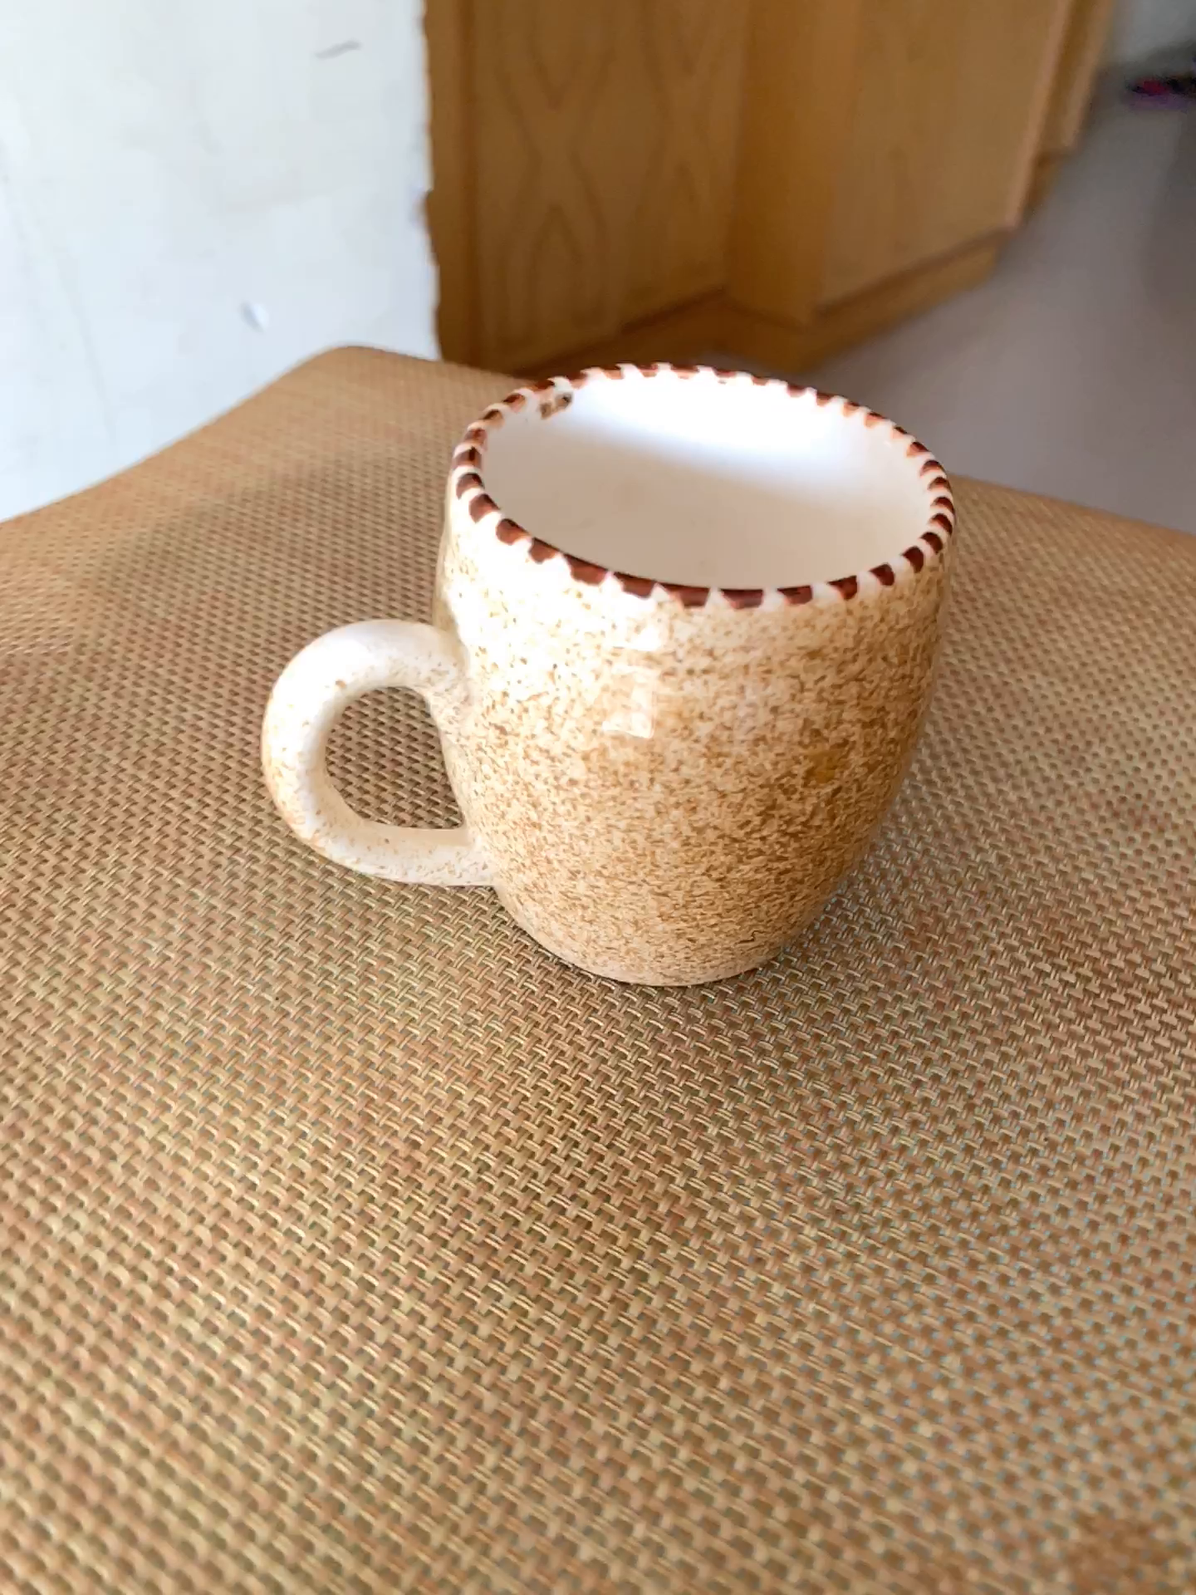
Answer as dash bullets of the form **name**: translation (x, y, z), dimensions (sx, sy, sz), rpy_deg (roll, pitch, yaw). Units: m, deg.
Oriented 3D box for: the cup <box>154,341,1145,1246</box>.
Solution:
- **cup**: translation (0.001, -0.006, 0.165), dimensions (0.090, 0.069, 0.070), rpy_deg (-16, 45, -20)
